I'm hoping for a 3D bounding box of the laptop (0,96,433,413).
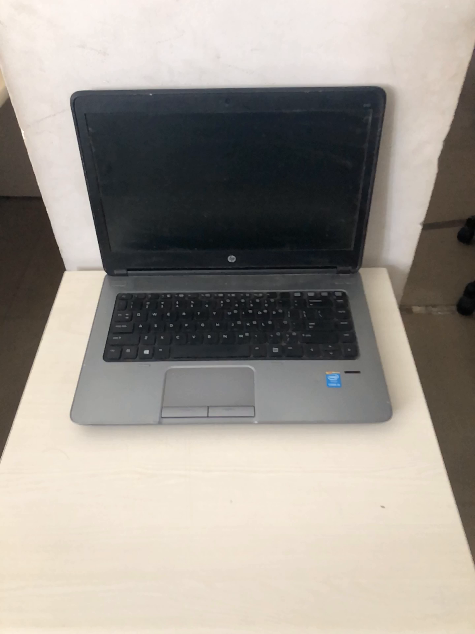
[{"bbox_3d":[-0.009,-0.065,0.526,0.304,0.209,0.238,0,47,1],"label":"laptop"}]
